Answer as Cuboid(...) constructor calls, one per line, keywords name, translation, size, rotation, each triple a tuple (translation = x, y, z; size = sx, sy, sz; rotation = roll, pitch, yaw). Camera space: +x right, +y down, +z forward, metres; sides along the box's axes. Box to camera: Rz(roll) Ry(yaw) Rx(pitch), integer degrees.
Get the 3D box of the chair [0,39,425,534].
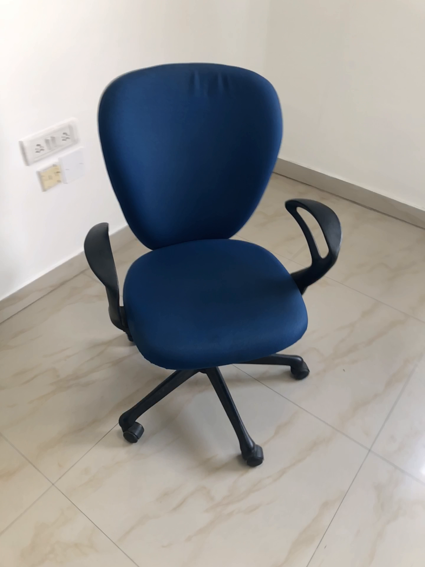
Cuboid(name="chair", translation=(-0.022, -0.025, 1.241), size=(0.652, 0.914, 0.703), rotation=(-25, 48, -28))
